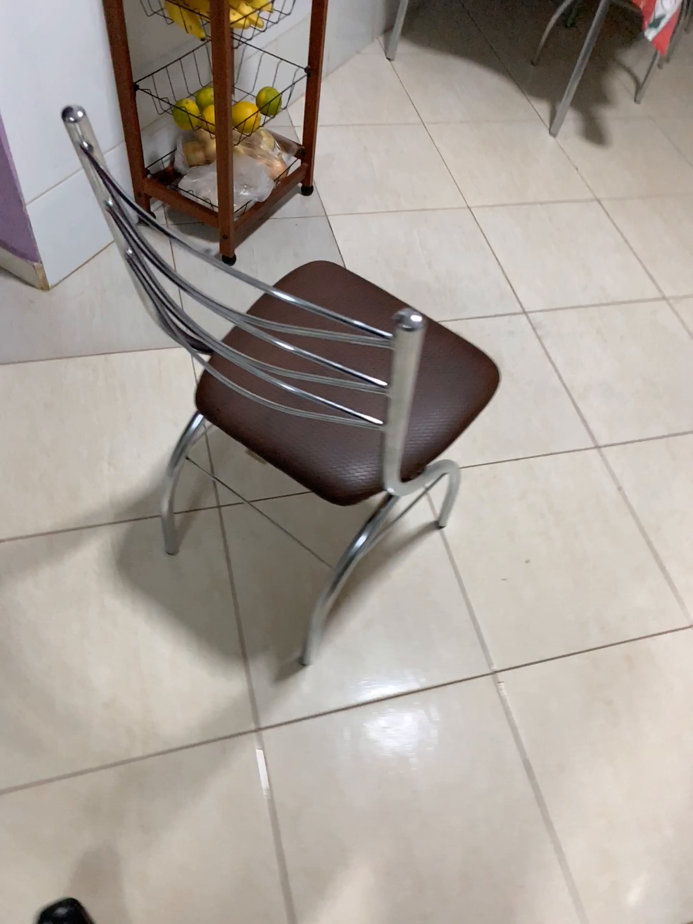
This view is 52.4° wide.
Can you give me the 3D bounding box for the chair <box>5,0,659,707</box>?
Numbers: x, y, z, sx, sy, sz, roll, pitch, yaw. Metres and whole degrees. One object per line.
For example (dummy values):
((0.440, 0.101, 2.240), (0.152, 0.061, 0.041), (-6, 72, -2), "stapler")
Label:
((-0.035, -0.093, 1.027), (0.419, 0.872, 0.486), (35, 58, 15), "chair")
